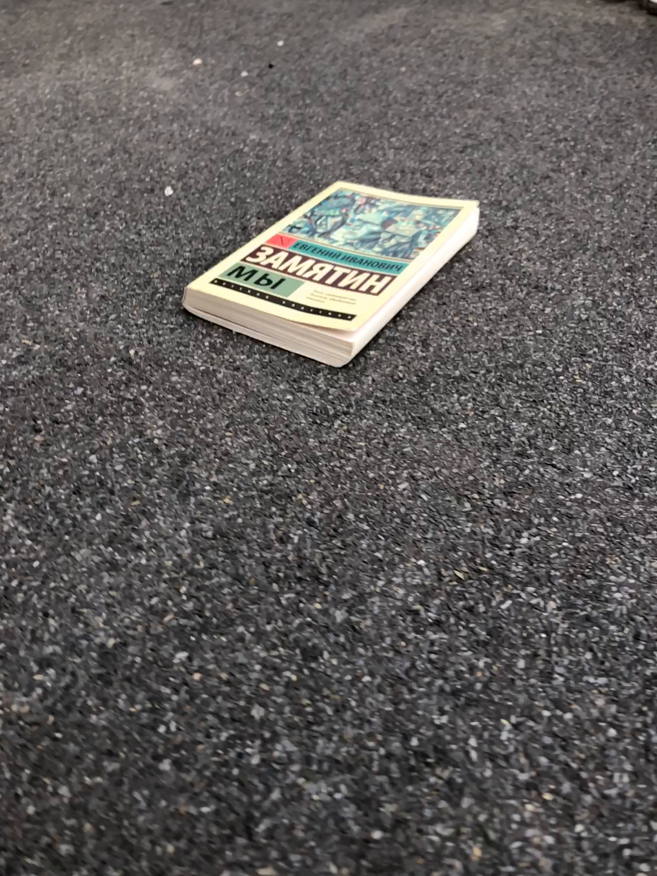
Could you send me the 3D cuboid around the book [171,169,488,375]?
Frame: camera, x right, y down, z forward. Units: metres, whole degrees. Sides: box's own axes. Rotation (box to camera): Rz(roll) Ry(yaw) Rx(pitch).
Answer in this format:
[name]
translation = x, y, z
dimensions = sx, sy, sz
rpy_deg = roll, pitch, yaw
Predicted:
[book]
translation = 0.008, -0.115, 0.456
dimensions = 0.120, 0.027, 0.183
rpy_deg = 20, 45, 23
